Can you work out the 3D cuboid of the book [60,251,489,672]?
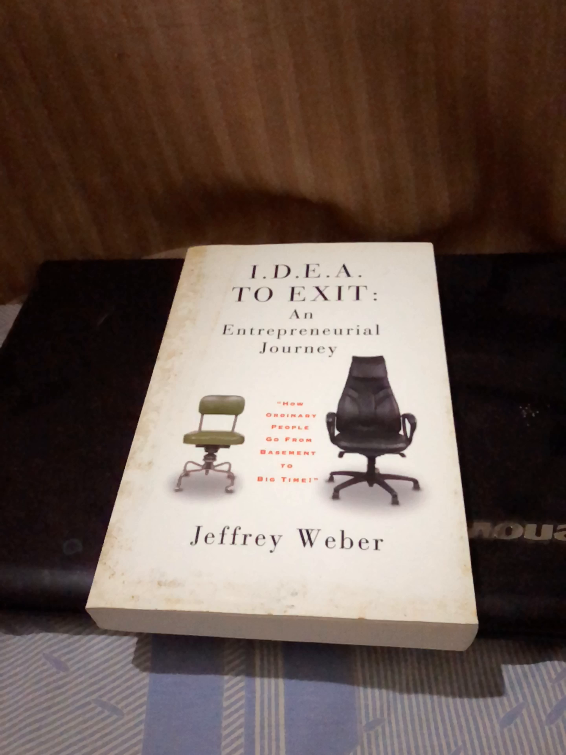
[{"bbox_3d":[0.005,0.017,0.328,0.160,0.030,0.241,1,46,6],"label":"book"}]
